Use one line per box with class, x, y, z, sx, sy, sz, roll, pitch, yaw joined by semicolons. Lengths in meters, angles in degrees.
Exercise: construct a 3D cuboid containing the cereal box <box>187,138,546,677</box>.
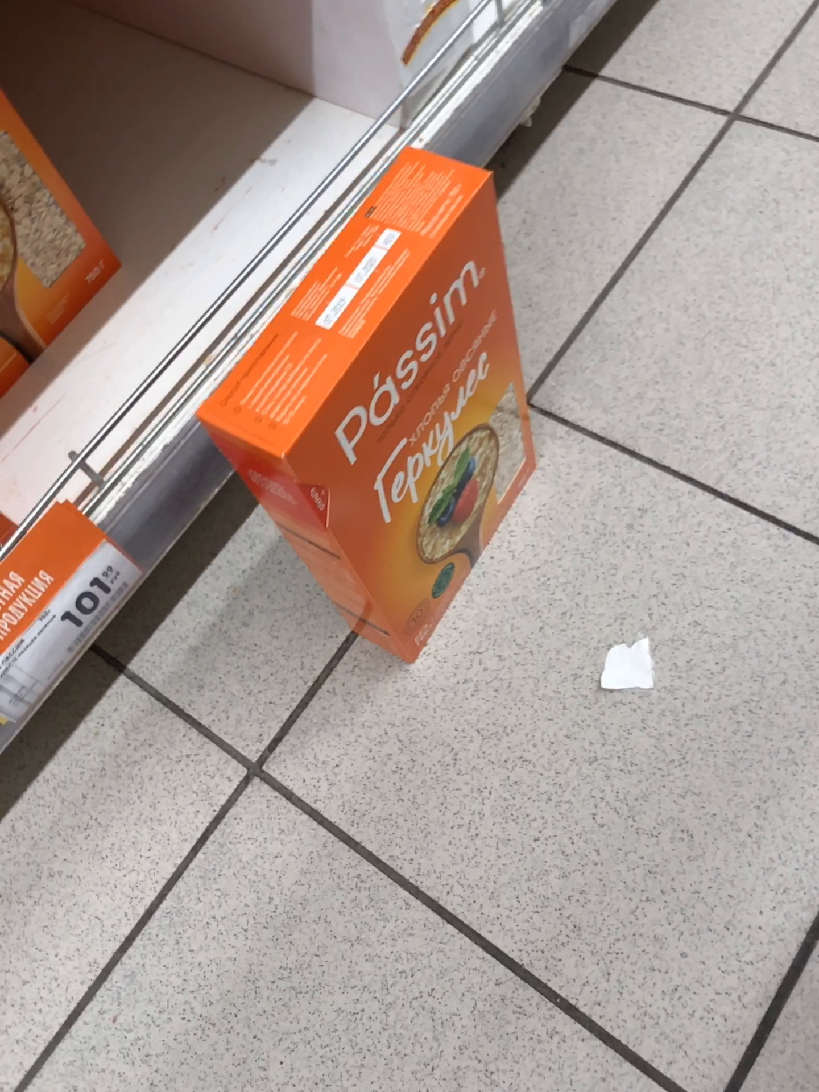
cereal box;0.002;-0.051;0.484;0.050;0.249;0.170;26;73;22
